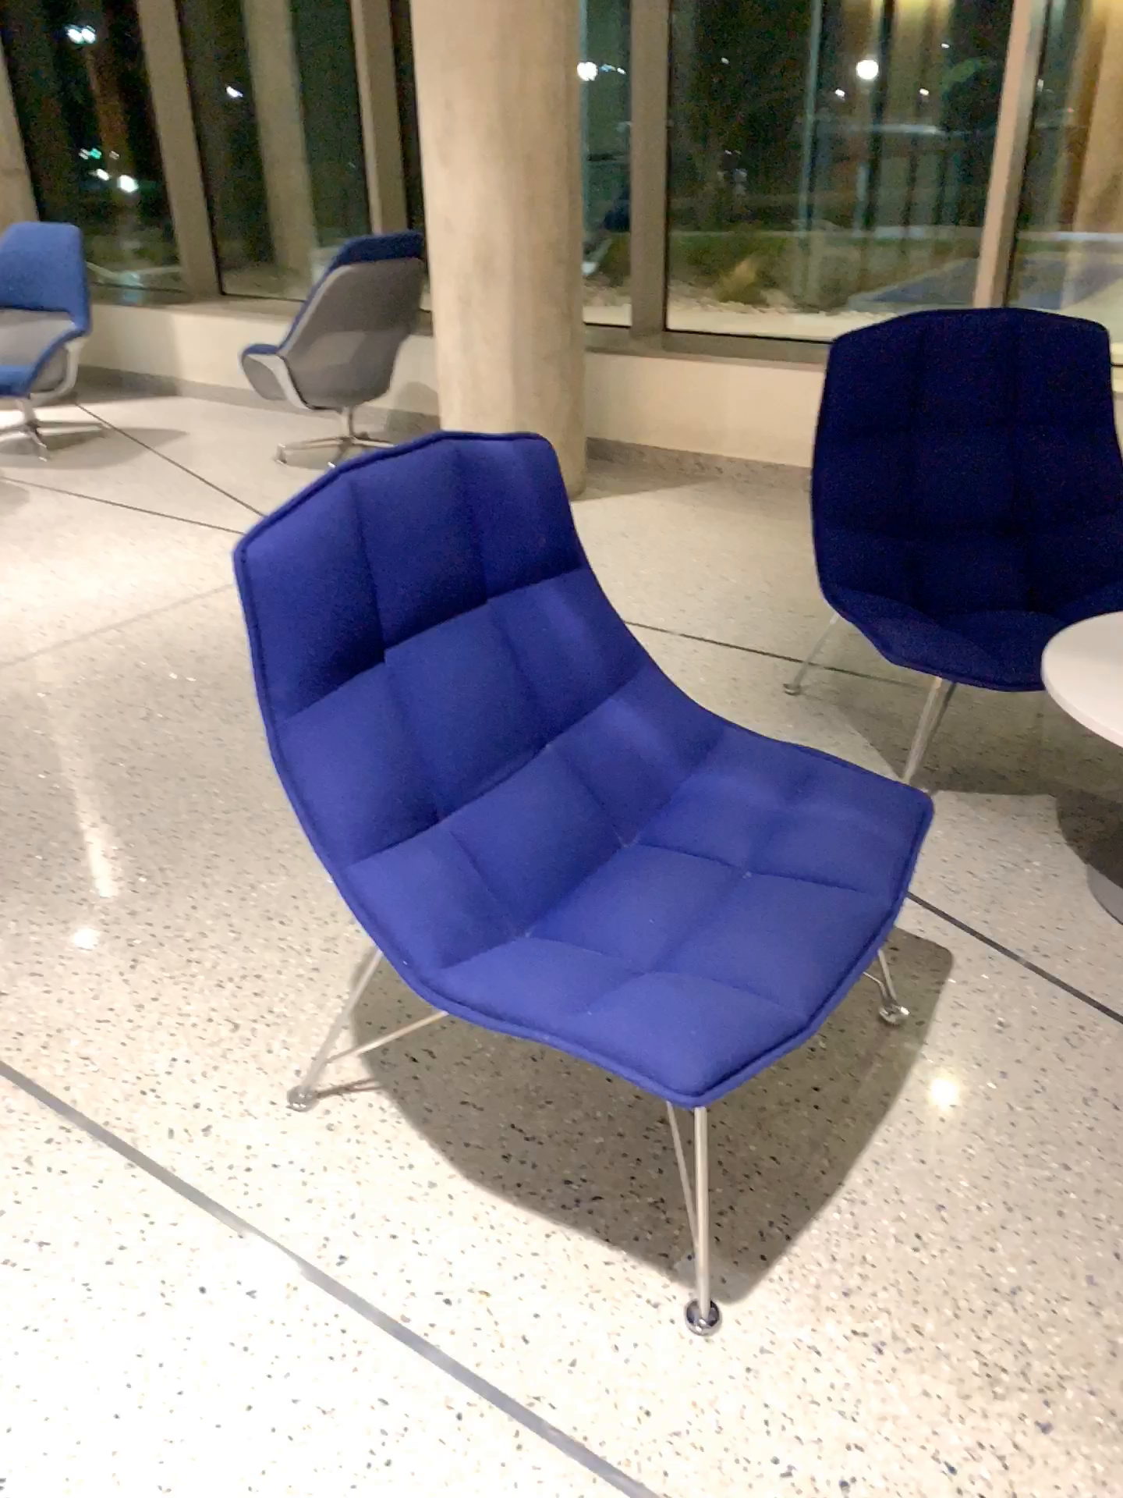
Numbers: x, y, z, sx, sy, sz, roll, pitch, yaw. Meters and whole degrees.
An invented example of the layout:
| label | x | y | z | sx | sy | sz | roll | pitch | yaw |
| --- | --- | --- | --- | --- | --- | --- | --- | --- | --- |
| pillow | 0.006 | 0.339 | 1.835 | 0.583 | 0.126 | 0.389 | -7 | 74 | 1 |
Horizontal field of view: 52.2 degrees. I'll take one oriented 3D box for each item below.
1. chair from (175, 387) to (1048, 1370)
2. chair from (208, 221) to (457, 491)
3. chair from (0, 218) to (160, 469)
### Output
| label | x | y | z | sx | sy | sz | roll | pitch | yaw |
| --- | --- | --- | --- | --- | --- | --- | --- | --- | --- |
| chair | 0.109 | 0.068 | 1.647 | 0.782 | 0.933 | 0.812 | 17 | 33 | 30 |
| chair | -0.985 | -1.752 | 5.041 | 0.773 | 0.962 | 0.643 | 23 | 36 | 36 |
| chair | -2.526 | -1.914 | 5.345 | 0.781 | 0.972 | 0.765 | 9 | 29 | 18 |
